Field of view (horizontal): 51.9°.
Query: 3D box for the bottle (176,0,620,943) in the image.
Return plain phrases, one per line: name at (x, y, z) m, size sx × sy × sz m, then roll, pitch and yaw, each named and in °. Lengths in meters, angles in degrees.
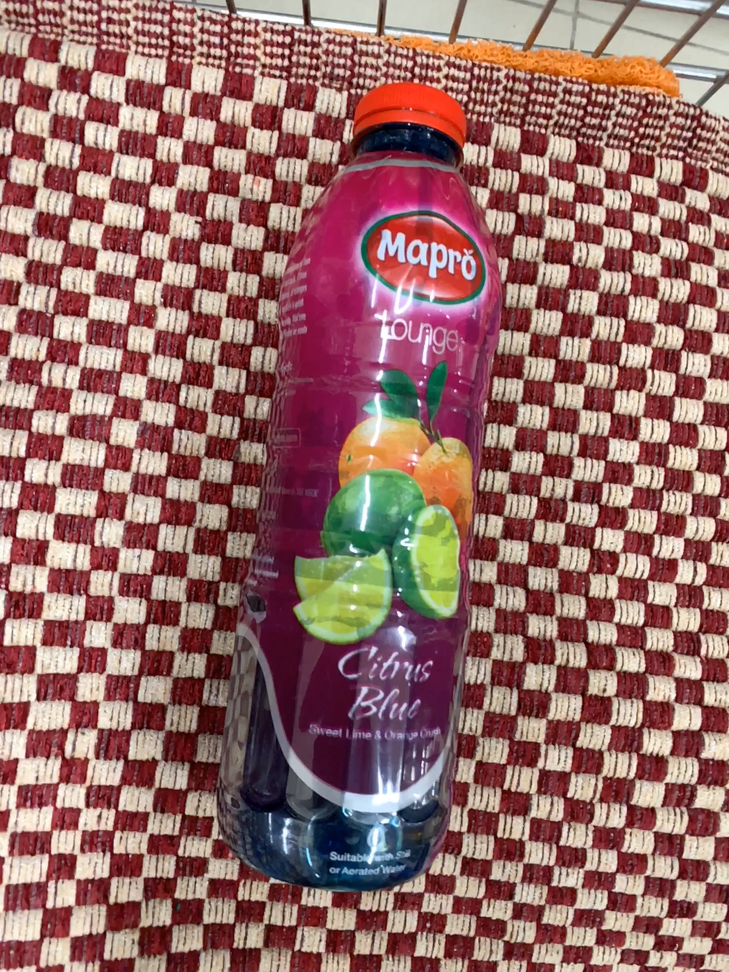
bottle at (0.004, 0.001, 0.242) m, size 0.090 × 0.070 × 0.250 m, roll 7°, pitch 92°, yaw -18°
